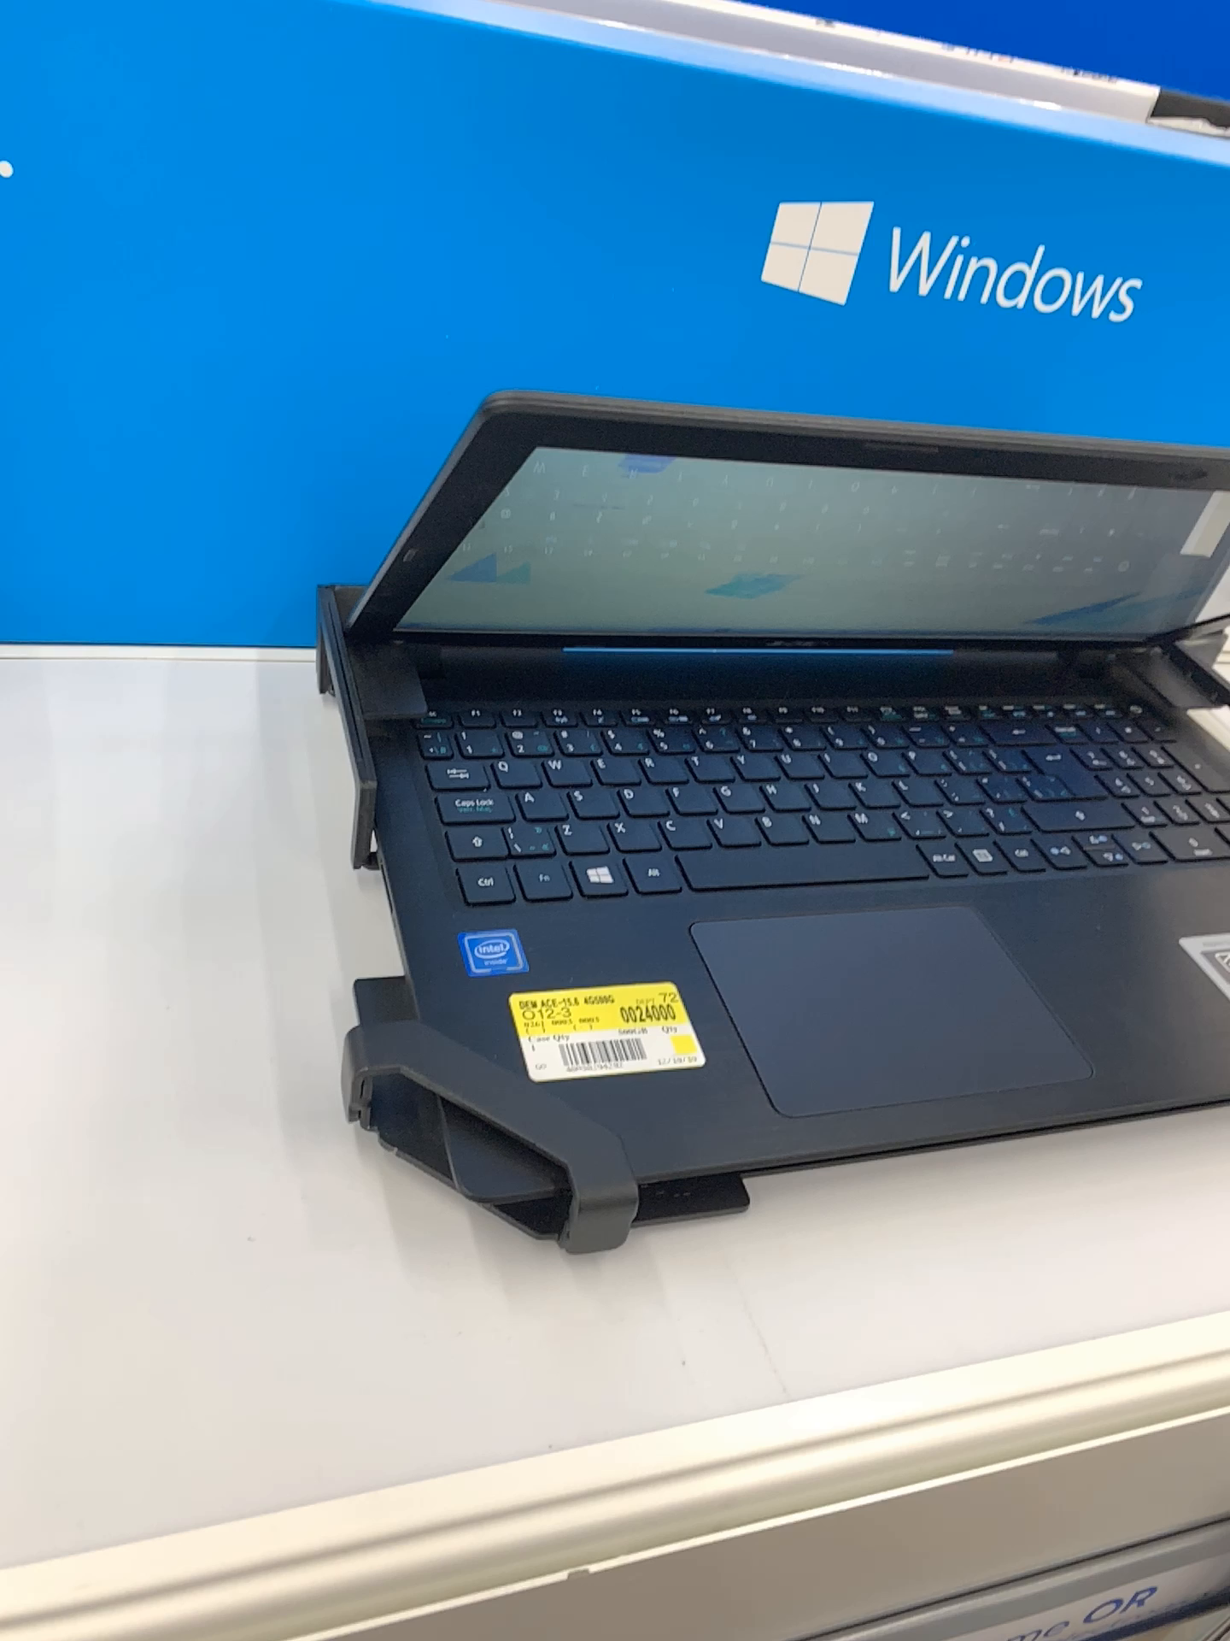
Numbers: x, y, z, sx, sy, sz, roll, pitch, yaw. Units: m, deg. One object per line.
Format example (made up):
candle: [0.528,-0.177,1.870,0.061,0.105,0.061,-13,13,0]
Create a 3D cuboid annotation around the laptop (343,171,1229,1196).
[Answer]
laptop: [0.113,-0.057,0.375,0.344,0.157,0.233,-2,38,-20]
